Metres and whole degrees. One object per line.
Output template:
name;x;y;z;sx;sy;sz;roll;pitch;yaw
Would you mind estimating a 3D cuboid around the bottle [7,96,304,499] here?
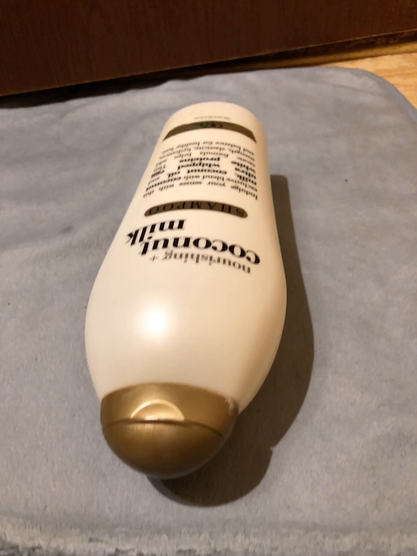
bottle;-0.002;-0.021;0.217;0.080;0.040;0.221;0;42;8
